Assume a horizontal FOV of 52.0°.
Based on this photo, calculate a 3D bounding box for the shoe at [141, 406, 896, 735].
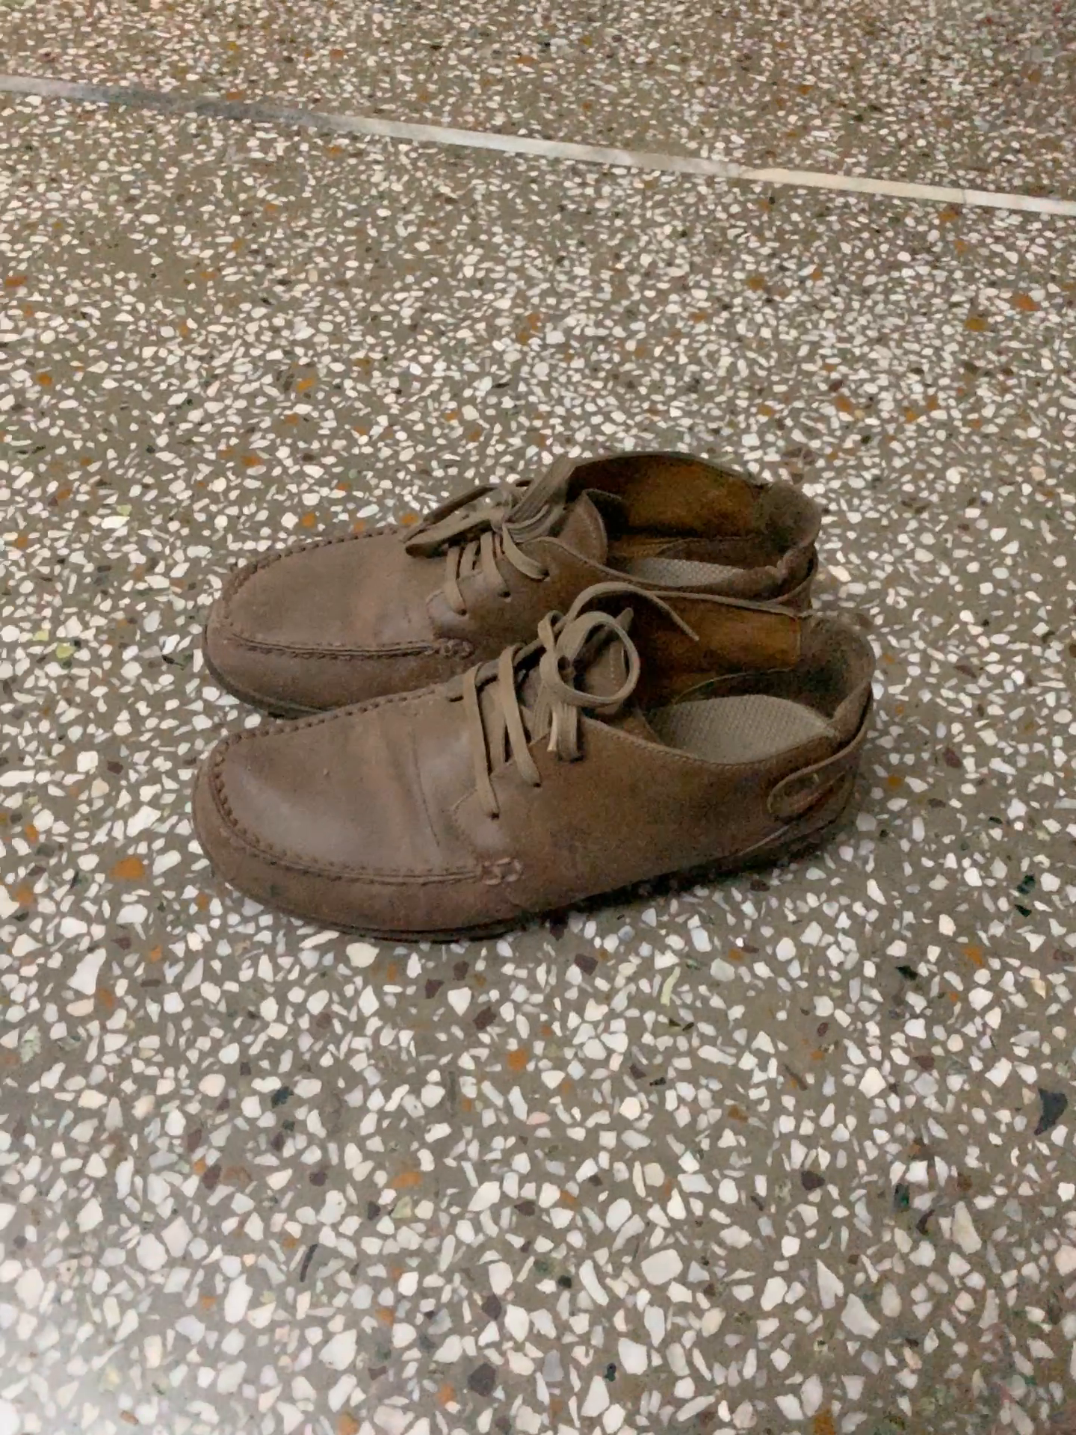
[{"bbox_3d":[-0.009,-0.065,0.492,0.290,0.100,0.100,-1,56,-3],"label":"shoe"}]

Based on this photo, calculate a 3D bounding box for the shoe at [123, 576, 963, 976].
[{"bbox_3d":[-0.001,0.024,0.446,0.290,0.100,0.100,-5,56,-5],"label":"shoe"}]
